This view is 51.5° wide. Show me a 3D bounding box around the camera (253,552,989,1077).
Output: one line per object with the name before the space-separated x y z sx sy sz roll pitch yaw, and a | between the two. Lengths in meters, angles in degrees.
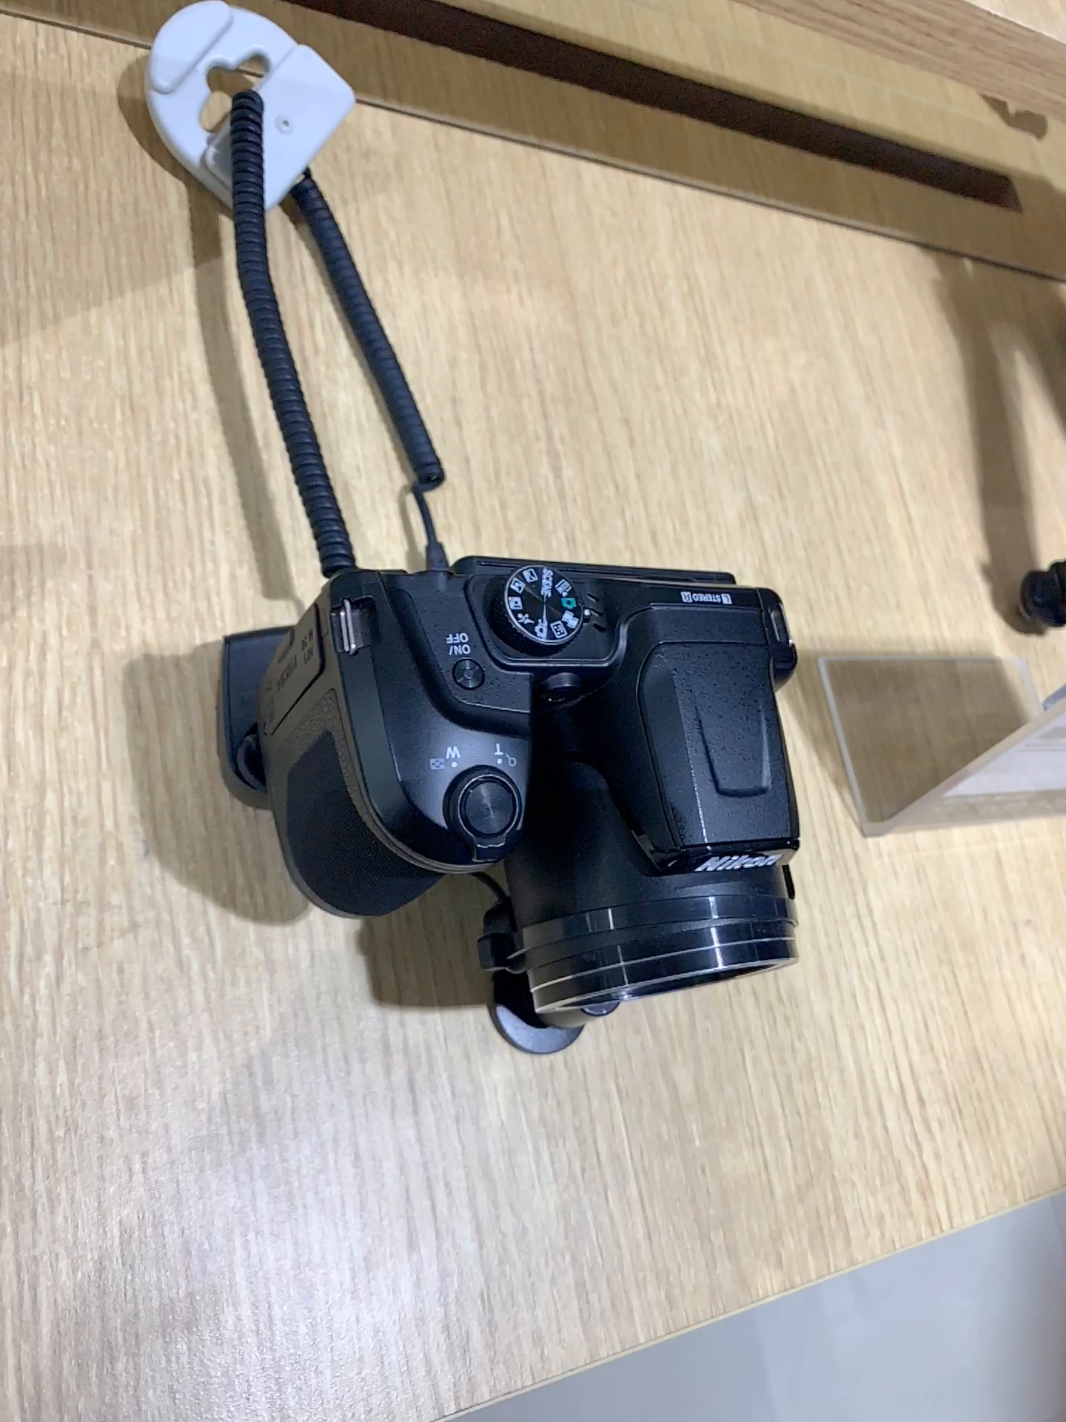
camera | 0.015 0.021 0.230 0.120 0.070 0.080 -2 72 -29
